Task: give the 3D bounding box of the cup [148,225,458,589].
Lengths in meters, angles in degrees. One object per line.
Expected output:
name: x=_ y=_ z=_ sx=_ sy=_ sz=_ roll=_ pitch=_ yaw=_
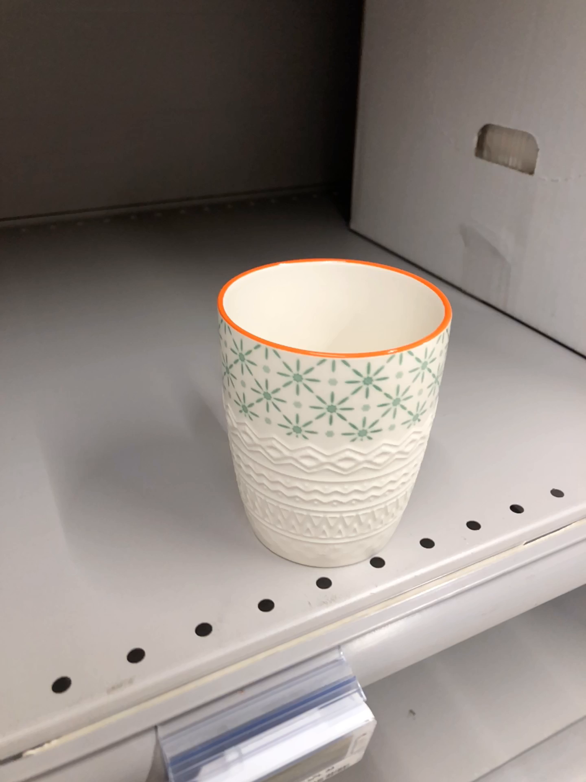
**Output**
cup: x=0.008 y=0.001 z=0.270 sx=0.092 sy=0.100 sz=0.118 roll=-1 pitch=33 yaw=4
